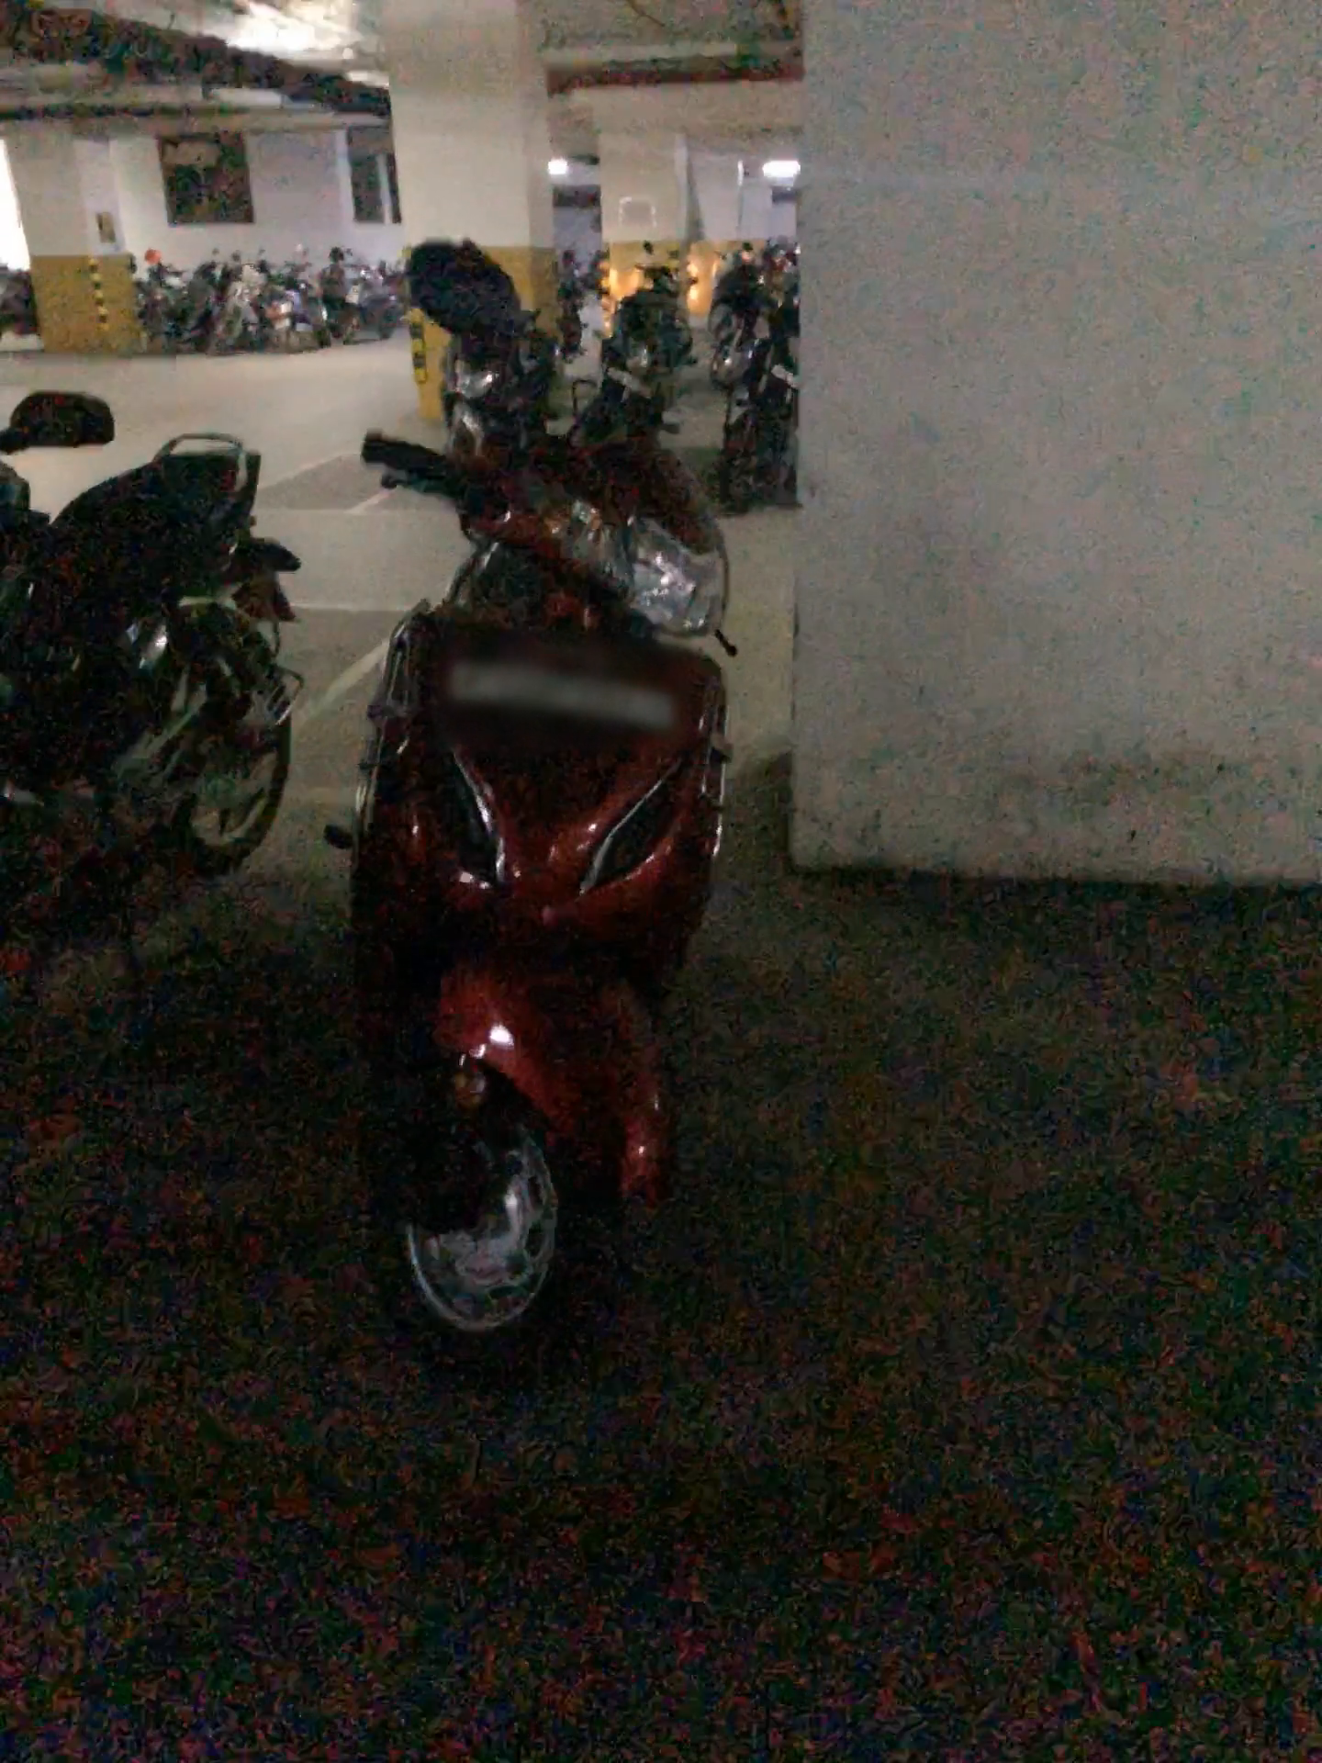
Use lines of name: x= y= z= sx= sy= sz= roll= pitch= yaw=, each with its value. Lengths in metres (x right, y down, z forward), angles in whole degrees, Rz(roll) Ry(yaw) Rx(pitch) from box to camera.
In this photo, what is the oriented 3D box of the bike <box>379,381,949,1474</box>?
bike: x=-0.094 y=-0.082 z=2.136 sx=0.486 sy=0.909 sz=1.398 roll=-7 pitch=34 yaw=-12
